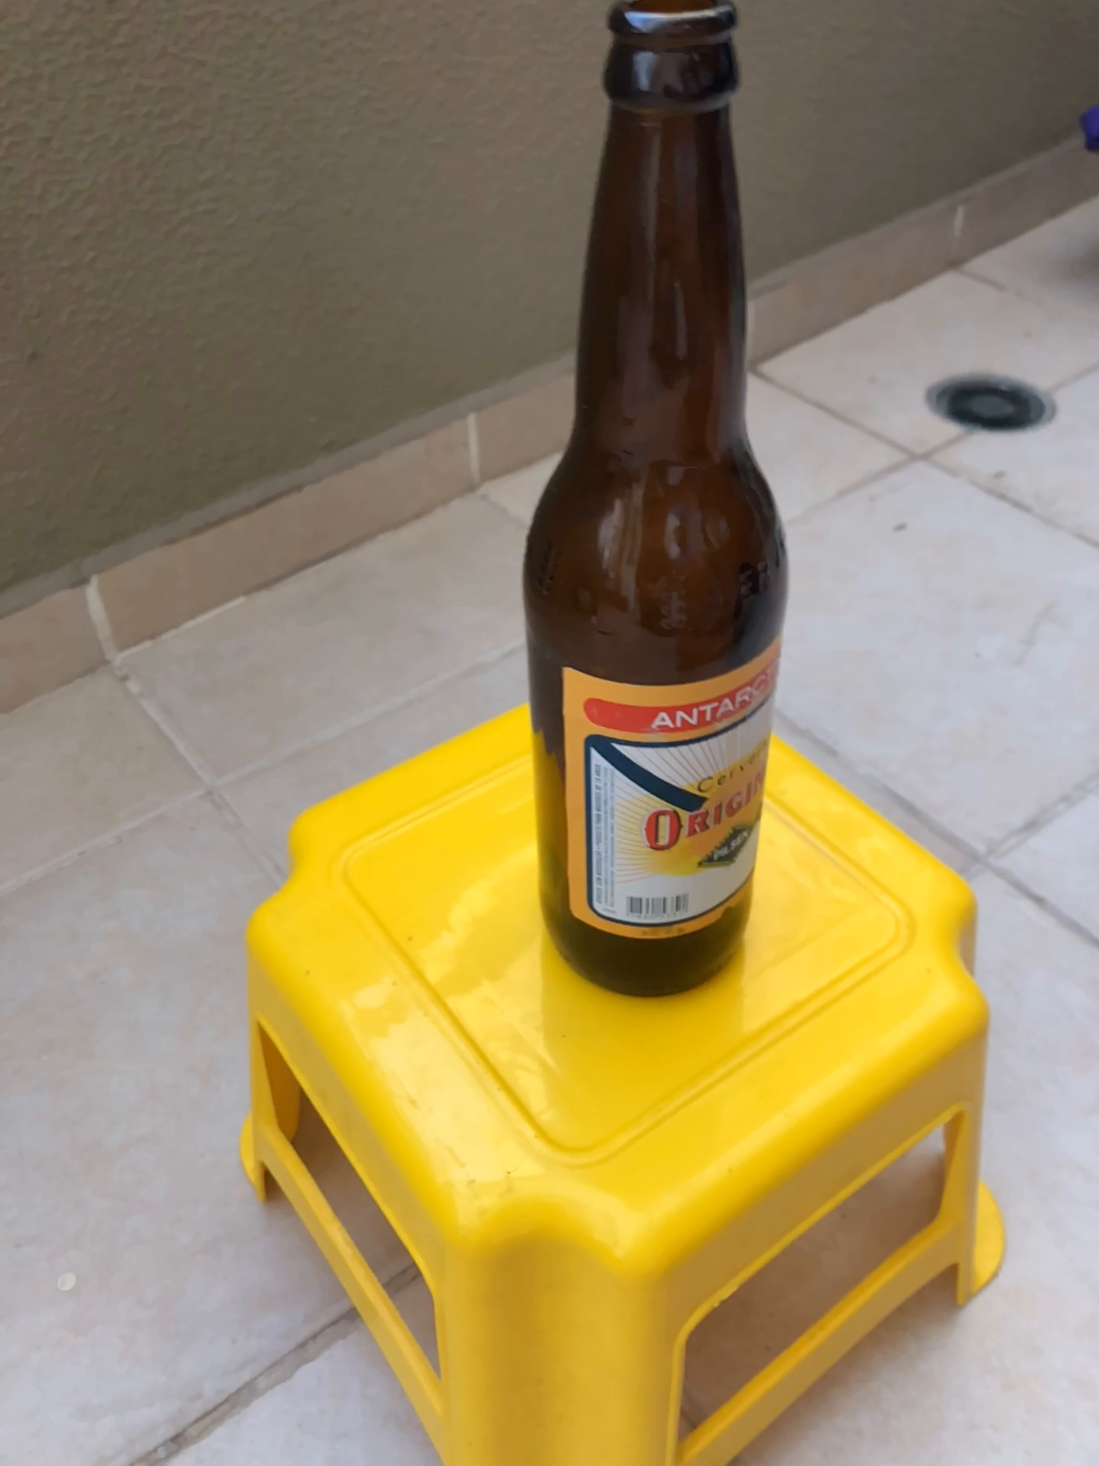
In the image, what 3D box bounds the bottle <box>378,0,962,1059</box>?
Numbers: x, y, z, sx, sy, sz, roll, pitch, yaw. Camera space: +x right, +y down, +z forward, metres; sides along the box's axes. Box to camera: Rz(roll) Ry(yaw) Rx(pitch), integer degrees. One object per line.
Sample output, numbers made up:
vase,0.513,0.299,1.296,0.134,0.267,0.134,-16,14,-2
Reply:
bottle,0.023,-0.042,0.332,0.080,0.288,0.080,-1,42,1
